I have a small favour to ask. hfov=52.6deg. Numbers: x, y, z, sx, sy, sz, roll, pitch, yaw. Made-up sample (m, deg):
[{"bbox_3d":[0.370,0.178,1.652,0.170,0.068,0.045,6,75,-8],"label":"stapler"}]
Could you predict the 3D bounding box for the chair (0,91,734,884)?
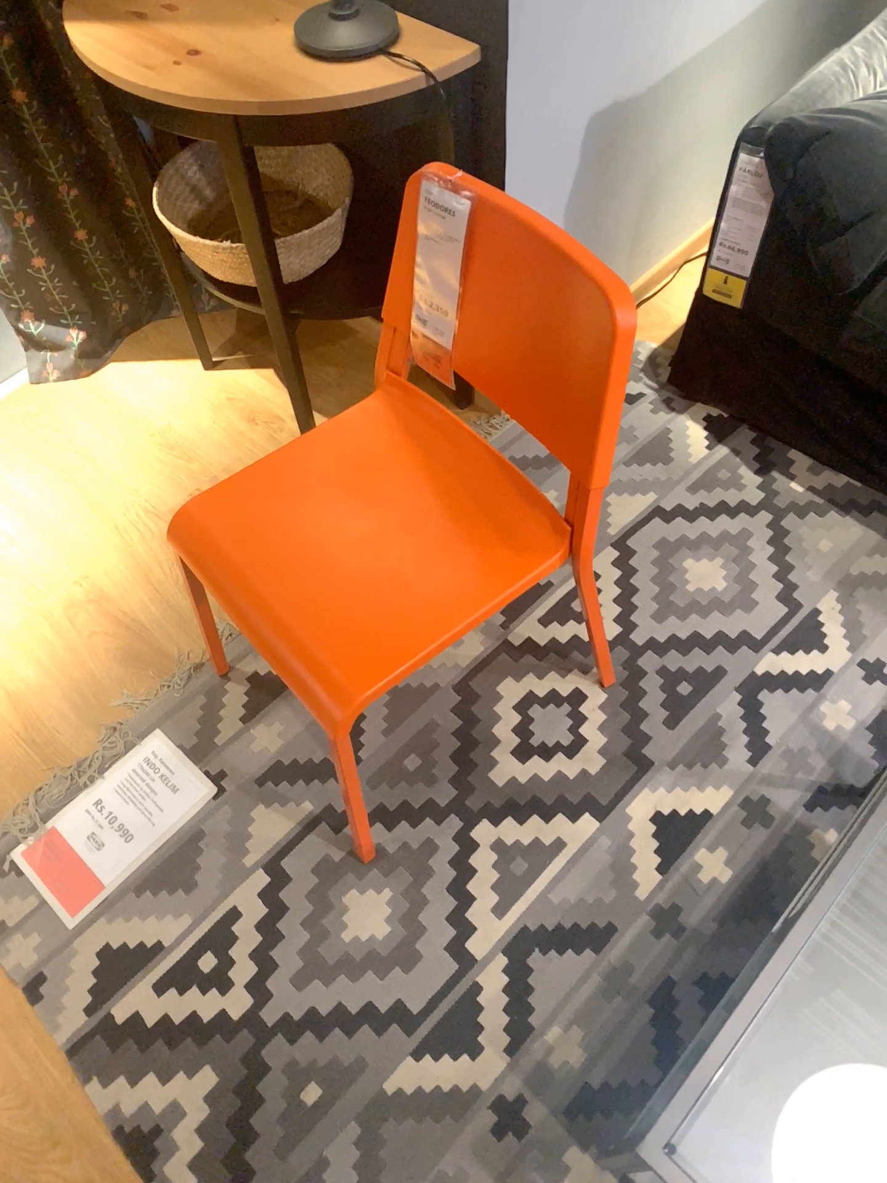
[{"bbox_3d":[-0.079,-0.092,1.188,0.540,0.738,0.511,-36,62,-19],"label":"chair"}]
